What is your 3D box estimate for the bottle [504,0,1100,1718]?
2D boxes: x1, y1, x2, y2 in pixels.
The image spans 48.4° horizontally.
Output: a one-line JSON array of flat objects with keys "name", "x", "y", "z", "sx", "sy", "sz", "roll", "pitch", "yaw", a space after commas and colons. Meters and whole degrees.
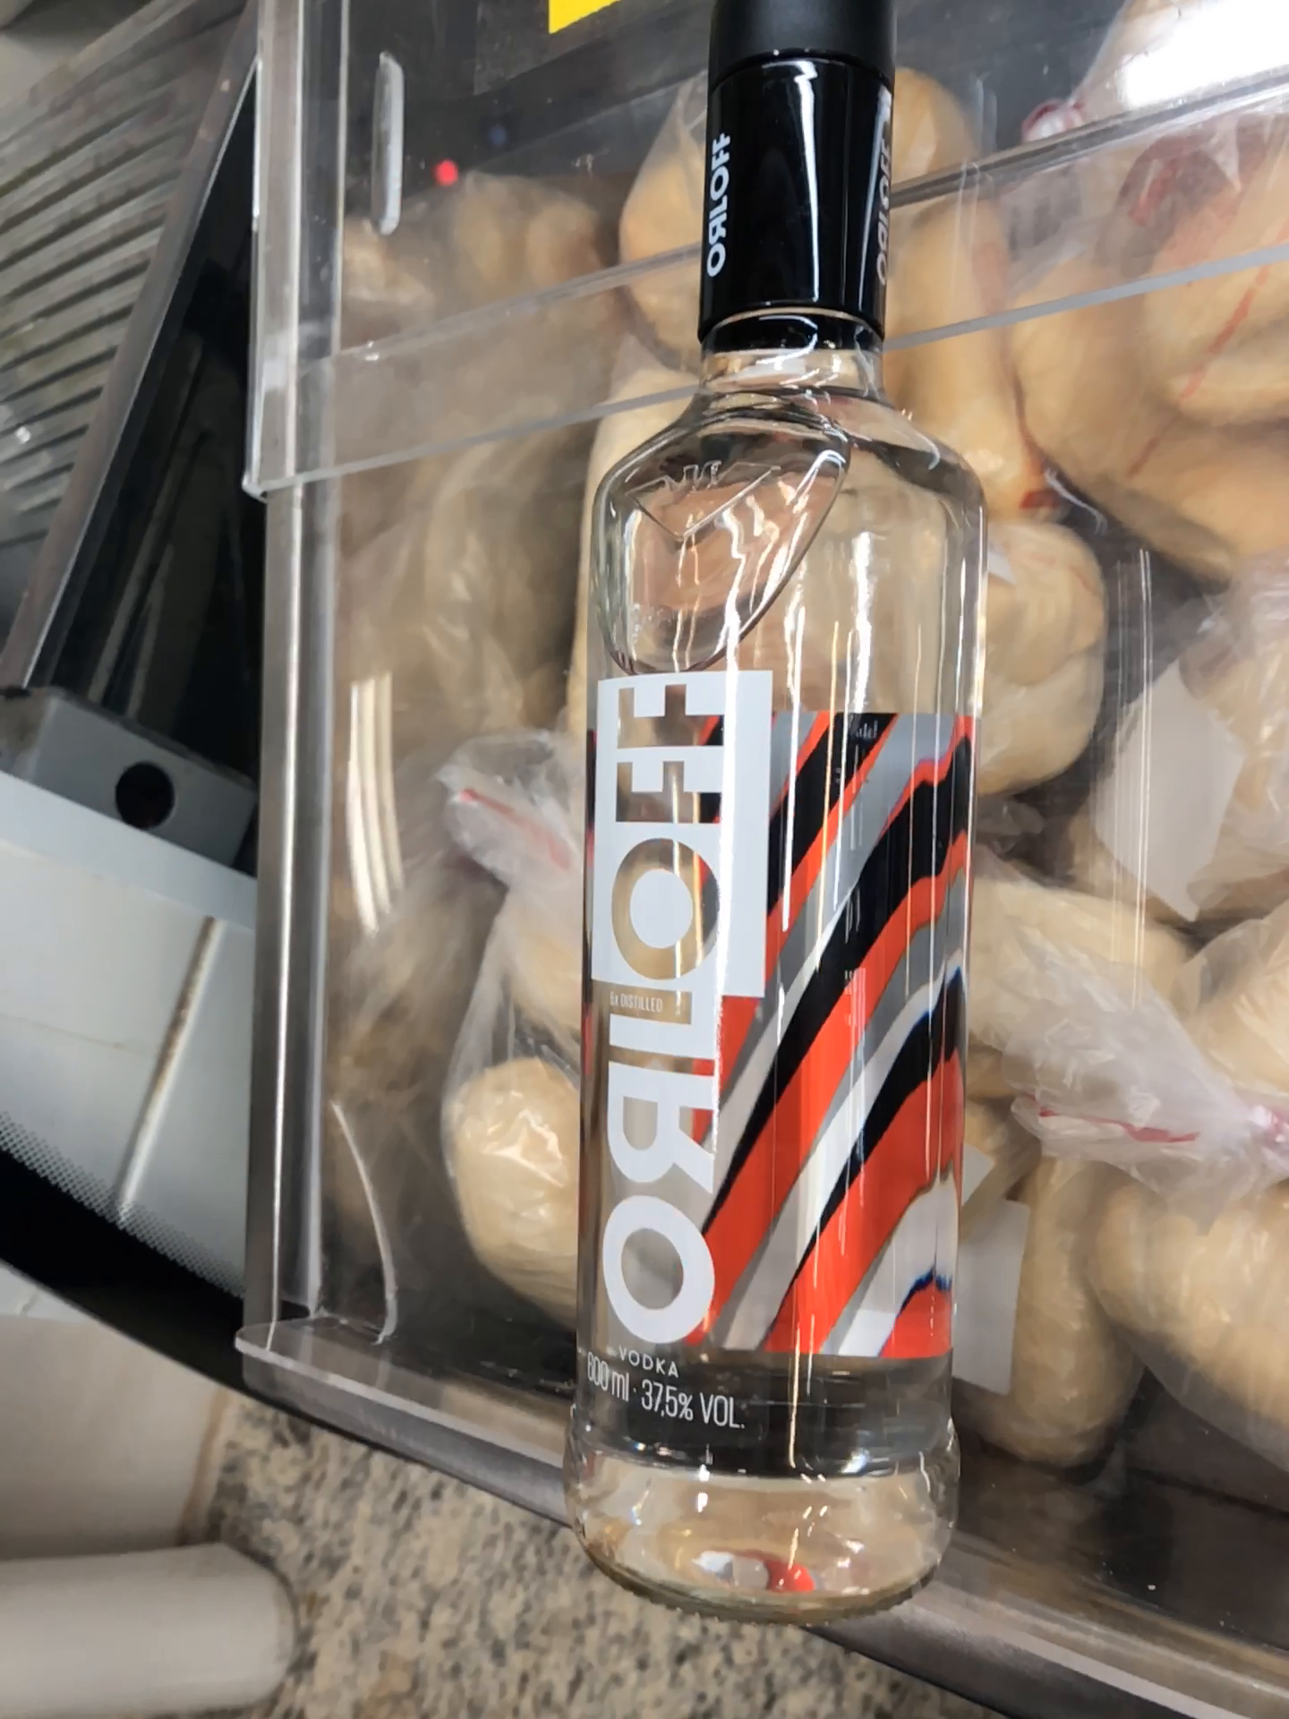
[{"name": "bottle", "x": 0.029, "y": -0.020, "z": 0.259, "sx": 0.070, "sy": 0.070, "sz": 0.300, "roll": 2, "pitch": 91, "yaw": 41}]
